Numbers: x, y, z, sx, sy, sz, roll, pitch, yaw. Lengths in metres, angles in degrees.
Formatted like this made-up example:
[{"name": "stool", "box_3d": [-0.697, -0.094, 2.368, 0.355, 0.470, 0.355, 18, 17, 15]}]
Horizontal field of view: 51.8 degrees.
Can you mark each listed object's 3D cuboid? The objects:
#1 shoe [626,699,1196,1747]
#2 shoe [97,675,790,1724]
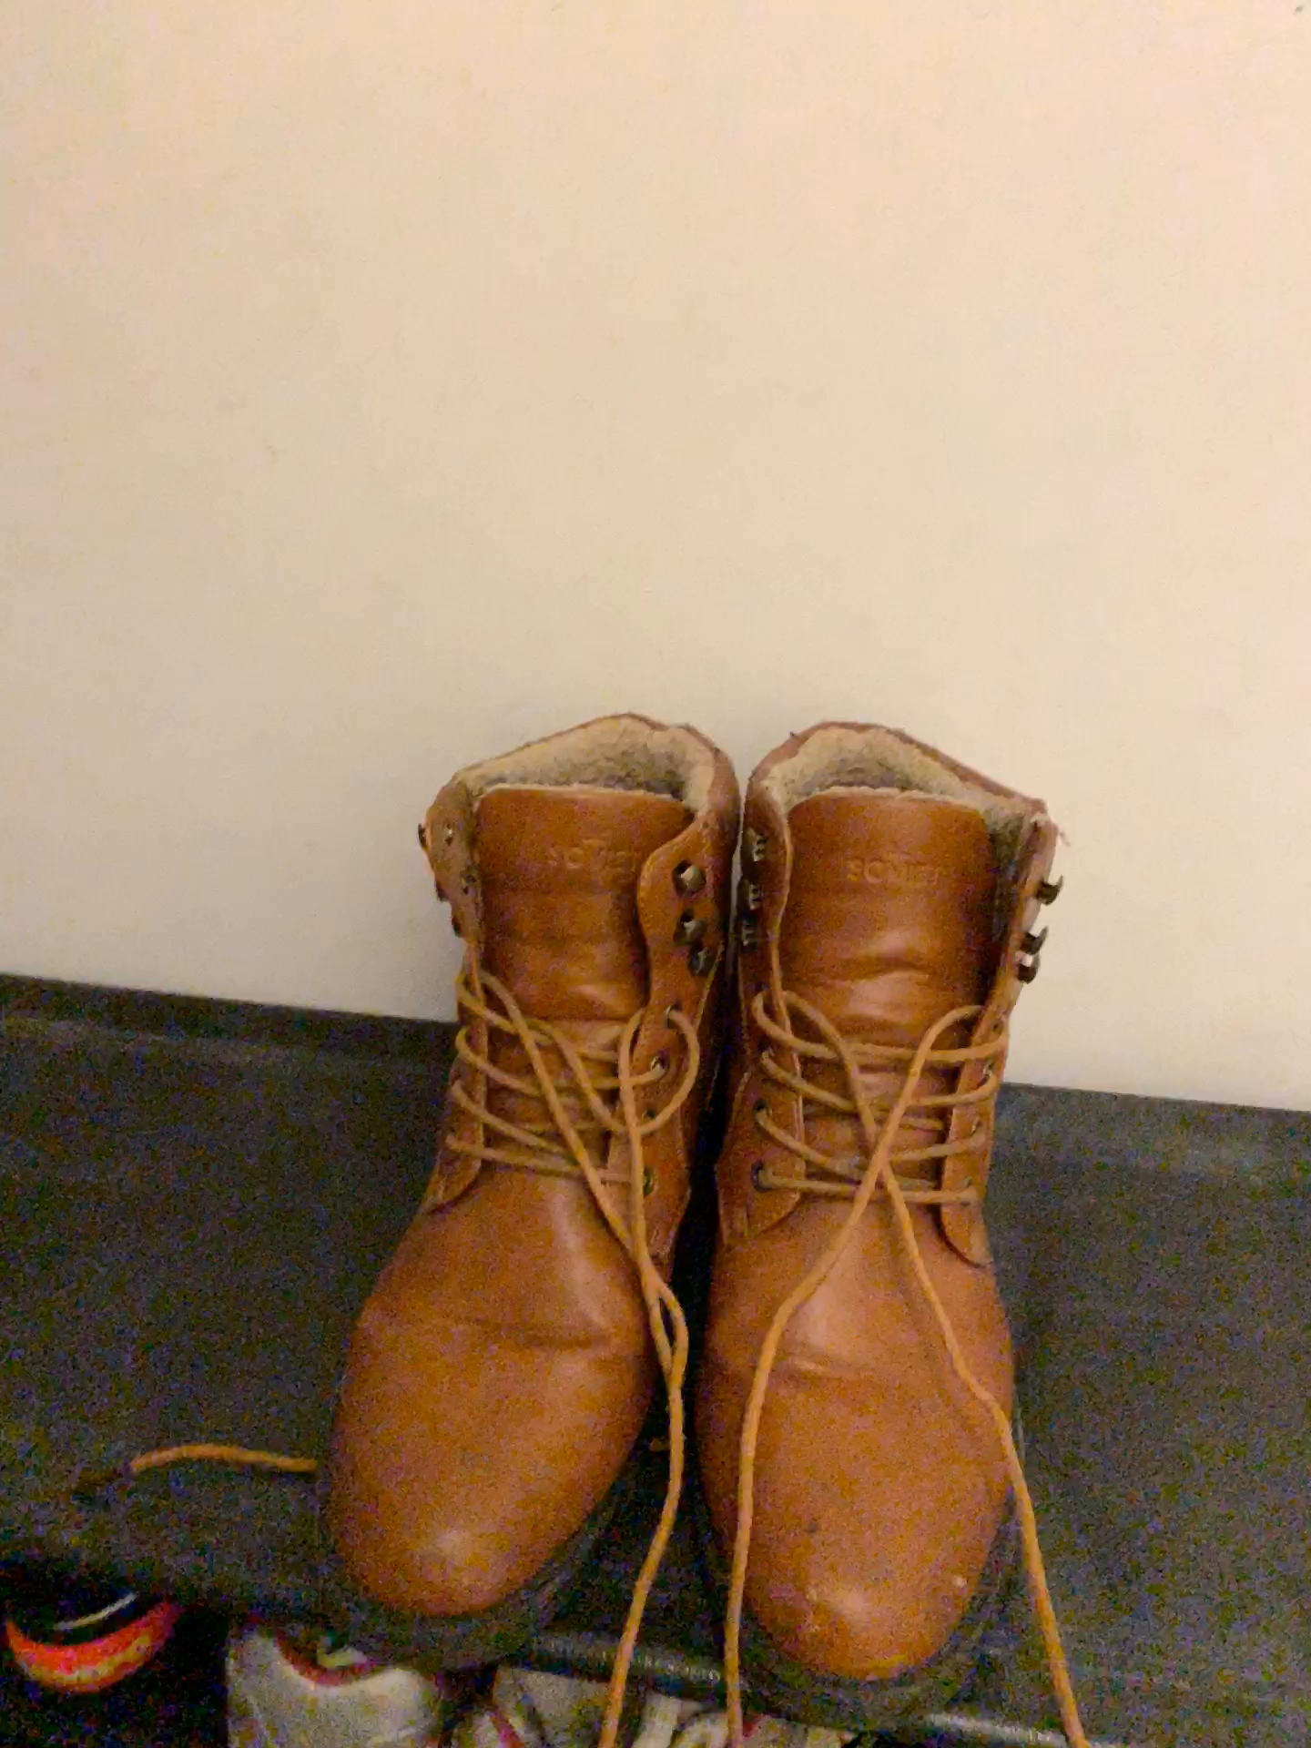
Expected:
[{"name": "shoe", "box_3d": [0.068, 0.089, 0.417, 0.110, 0.198, 0.242, 3, 31, 8]}, {"name": "shoe", "box_3d": [-0.037, 0.082, 0.460, 0.110, 0.198, 0.272, 7, 32, 14]}]
